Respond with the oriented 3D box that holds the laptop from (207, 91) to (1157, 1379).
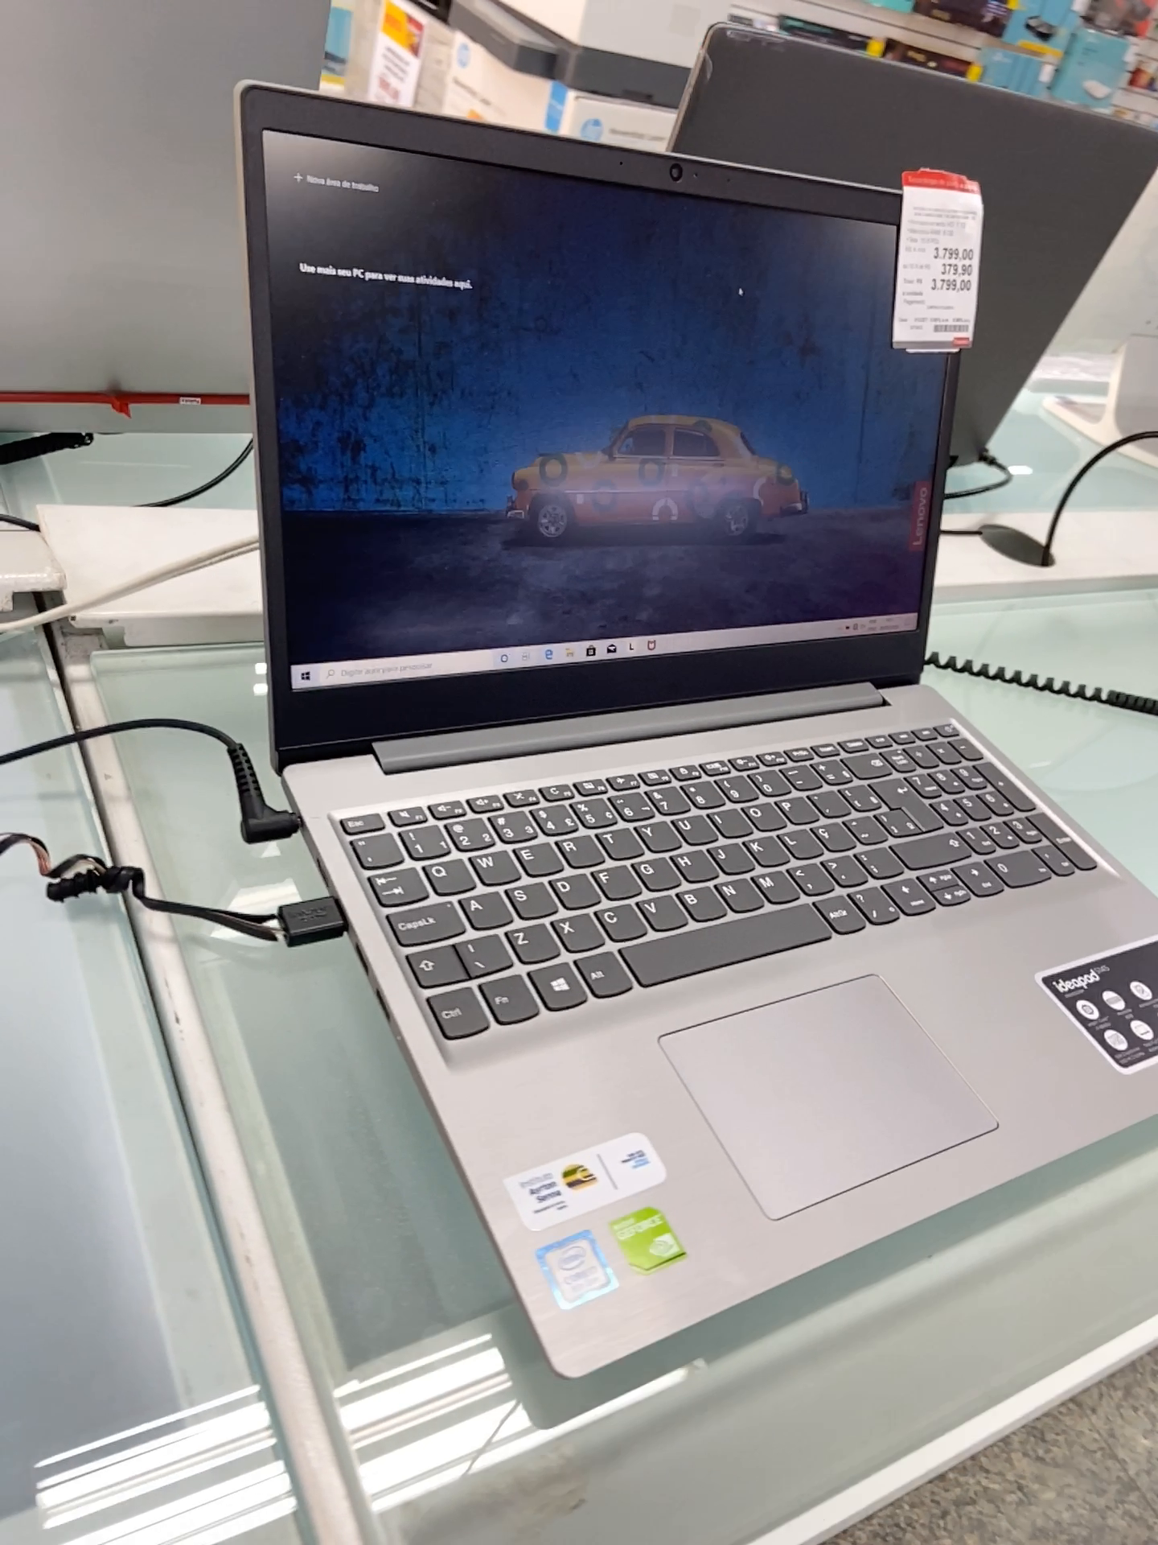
[{"bbox_3d":[0.095,-0.059,0.453,0.365,0.213,0.361,-8,44,-30],"label":"laptop"}]
